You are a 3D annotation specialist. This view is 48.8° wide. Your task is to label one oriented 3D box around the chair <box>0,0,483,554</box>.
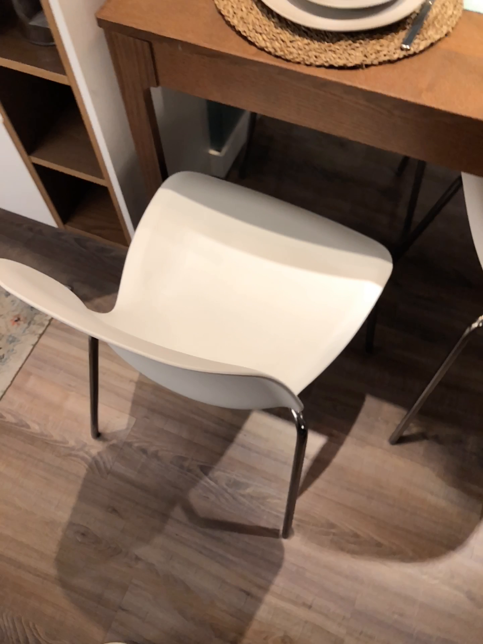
[{"bbox_3d":[-0.020,-0.021,0.904,0.541,0.708,0.531,24,66,13],"label":"chair"}]
